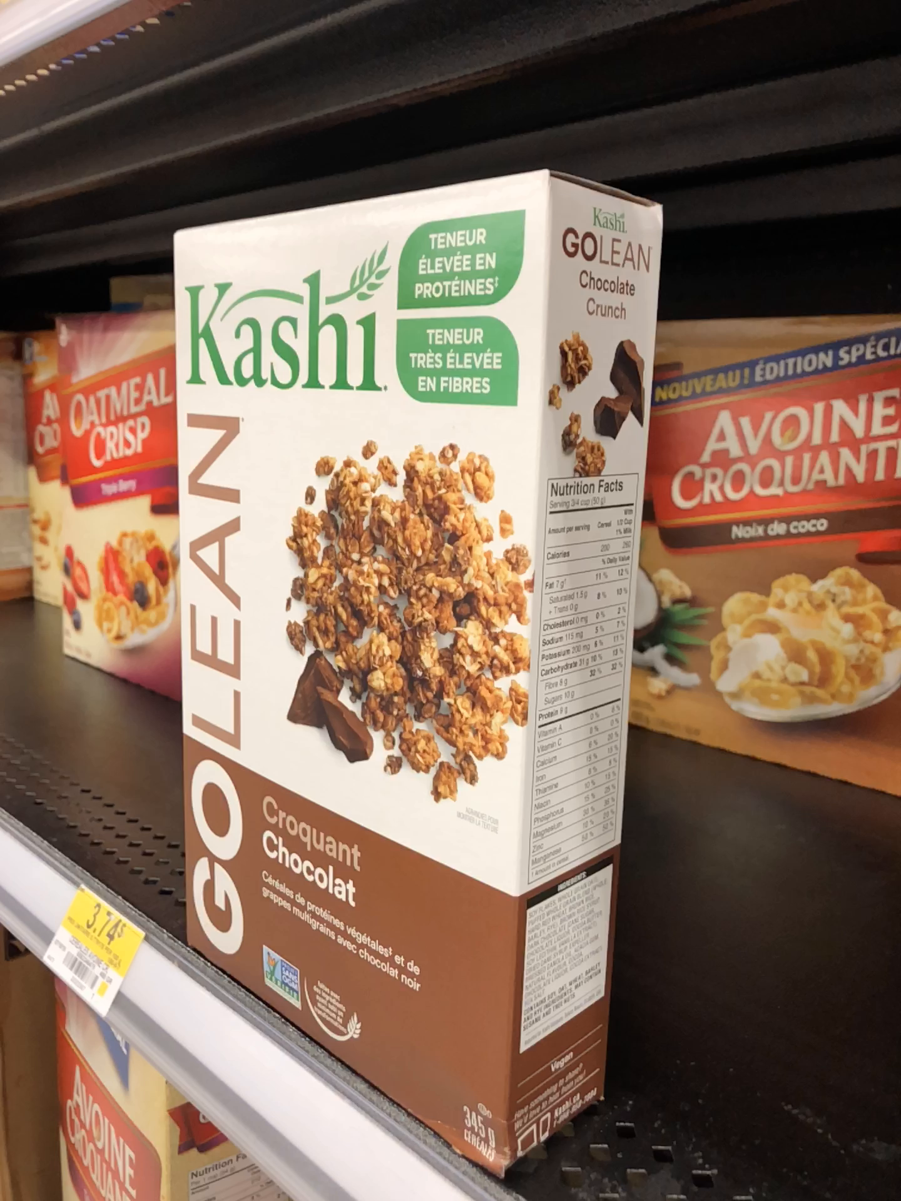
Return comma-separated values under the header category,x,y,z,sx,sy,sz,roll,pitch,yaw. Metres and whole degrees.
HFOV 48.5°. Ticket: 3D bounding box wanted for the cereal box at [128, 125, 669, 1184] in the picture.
category,x,y,z,sx,sy,sz,roll,pitch,yaw
cereal box,-0.027,0.008,0.304,0.170,0.249,0.050,12,16,44
